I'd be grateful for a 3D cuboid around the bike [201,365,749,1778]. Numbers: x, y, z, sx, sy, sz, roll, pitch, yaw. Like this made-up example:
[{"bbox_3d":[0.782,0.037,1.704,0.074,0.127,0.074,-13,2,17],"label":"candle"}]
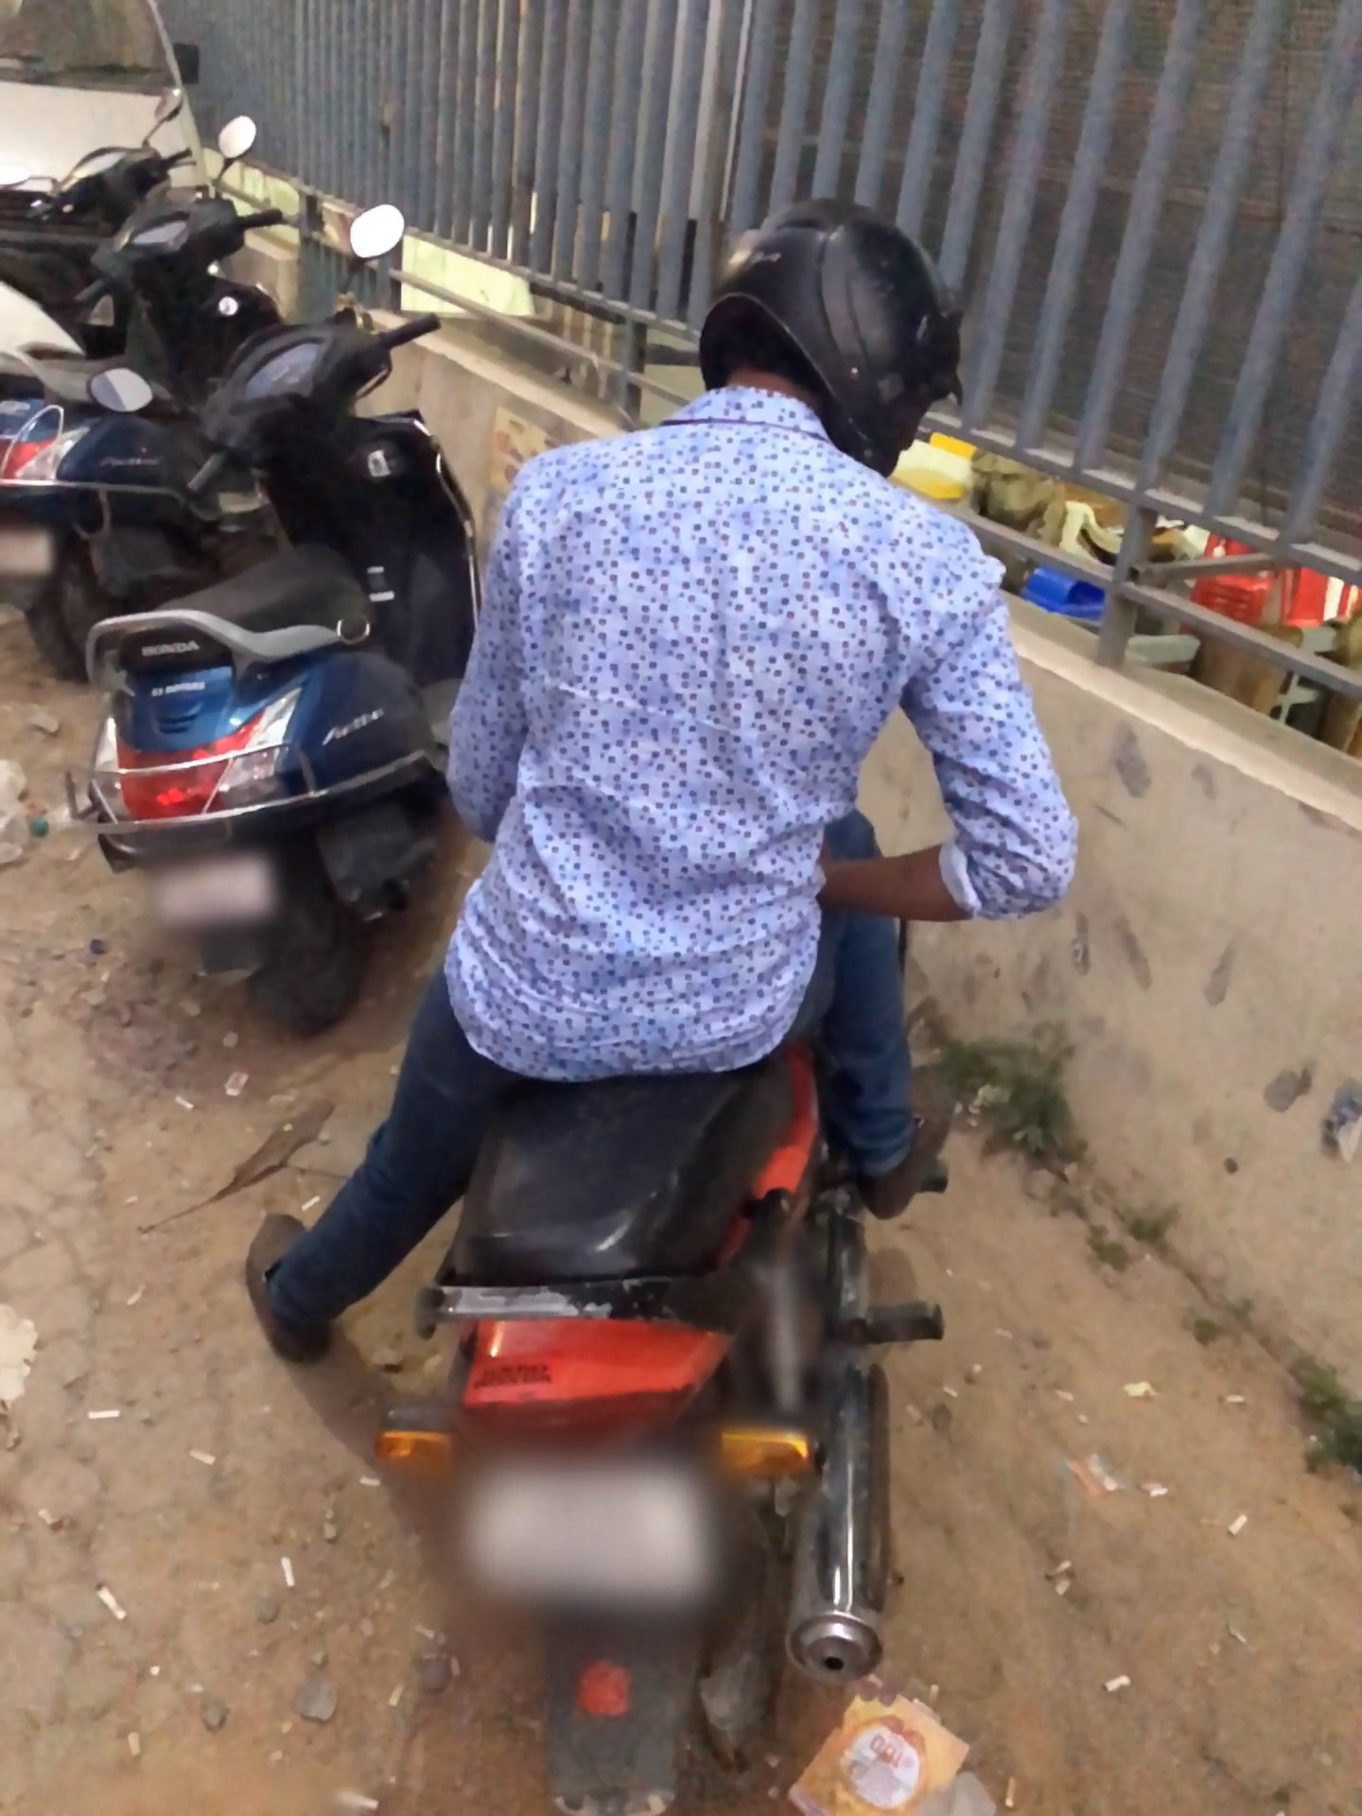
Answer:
[{"bbox_3d":[-0.242,-0.015,2.005,0.424,0.830,1.661,5,34,-5],"label":"bike"}]
